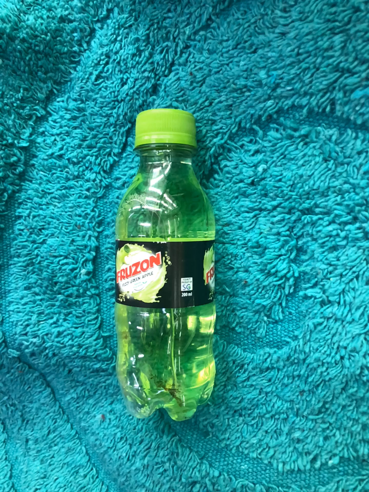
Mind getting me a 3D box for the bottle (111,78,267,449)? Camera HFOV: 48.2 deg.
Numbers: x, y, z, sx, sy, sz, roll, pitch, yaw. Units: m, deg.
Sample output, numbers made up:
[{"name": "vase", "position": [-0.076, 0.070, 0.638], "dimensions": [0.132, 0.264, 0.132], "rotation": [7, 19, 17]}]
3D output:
[{"name": "bottle", "position": [0.003, 0.007, 0.214], "dimensions": [0.060, 0.050, 0.160], "rotation": [4, 98, 36]}]
